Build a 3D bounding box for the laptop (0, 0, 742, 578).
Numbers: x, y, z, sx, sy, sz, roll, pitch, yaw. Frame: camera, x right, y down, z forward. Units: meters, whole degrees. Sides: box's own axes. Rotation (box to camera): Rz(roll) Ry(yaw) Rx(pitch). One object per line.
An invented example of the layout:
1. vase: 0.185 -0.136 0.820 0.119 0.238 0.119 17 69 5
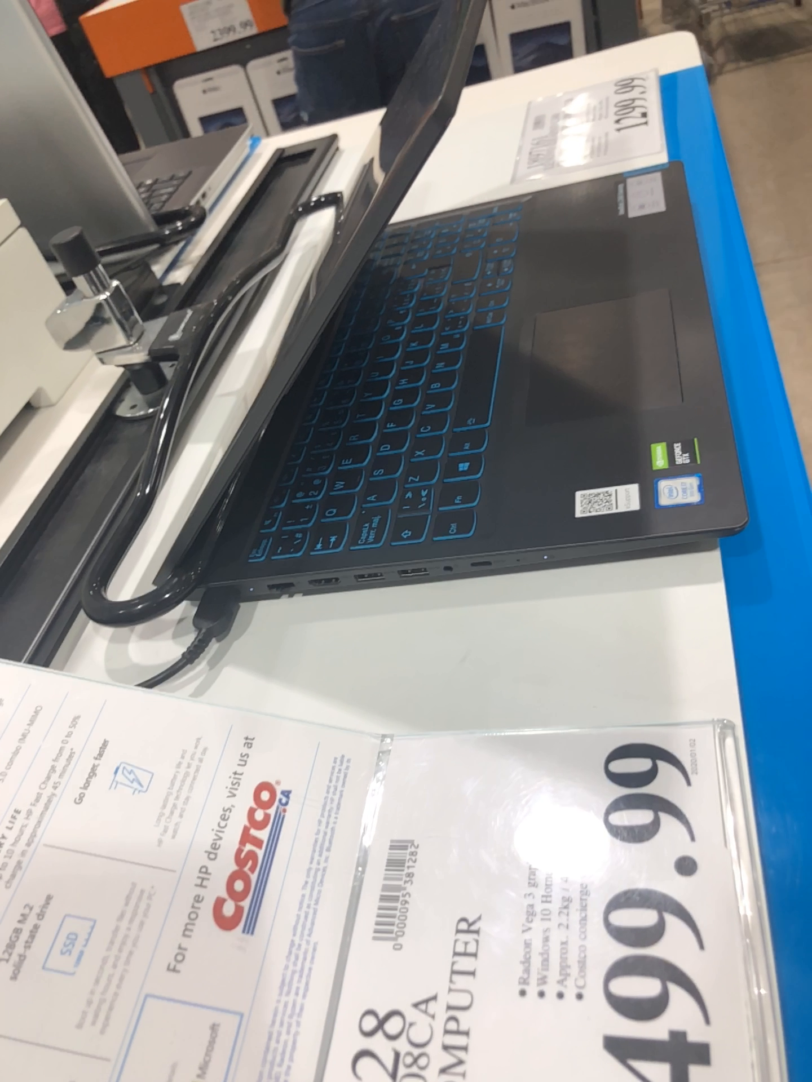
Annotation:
1. laptop: 0.011 -0.174 0.437 0.240 0.170 0.346 -6 41 17
